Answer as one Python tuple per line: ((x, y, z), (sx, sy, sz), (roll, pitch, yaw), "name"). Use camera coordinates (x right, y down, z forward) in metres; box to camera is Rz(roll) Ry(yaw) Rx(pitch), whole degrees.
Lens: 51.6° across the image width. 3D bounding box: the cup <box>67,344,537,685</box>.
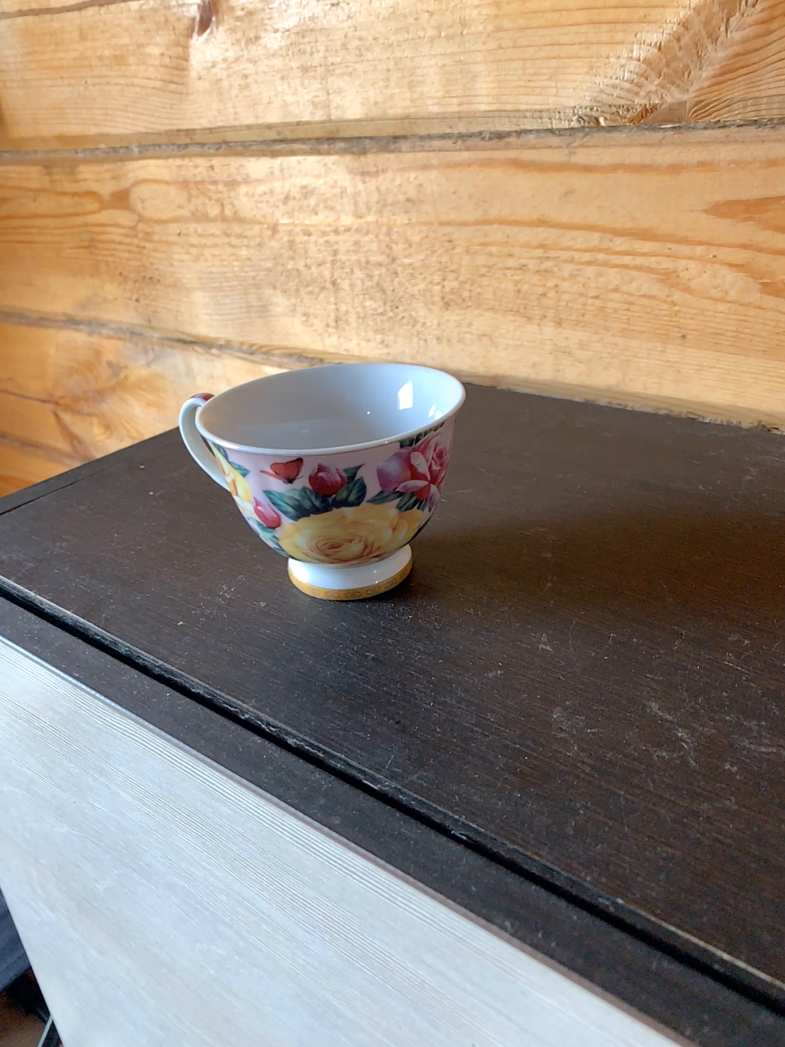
((-0.028, -0.015, 0.282), (0.120, 0.060, 0.101), (16, 32, 35), "cup")
